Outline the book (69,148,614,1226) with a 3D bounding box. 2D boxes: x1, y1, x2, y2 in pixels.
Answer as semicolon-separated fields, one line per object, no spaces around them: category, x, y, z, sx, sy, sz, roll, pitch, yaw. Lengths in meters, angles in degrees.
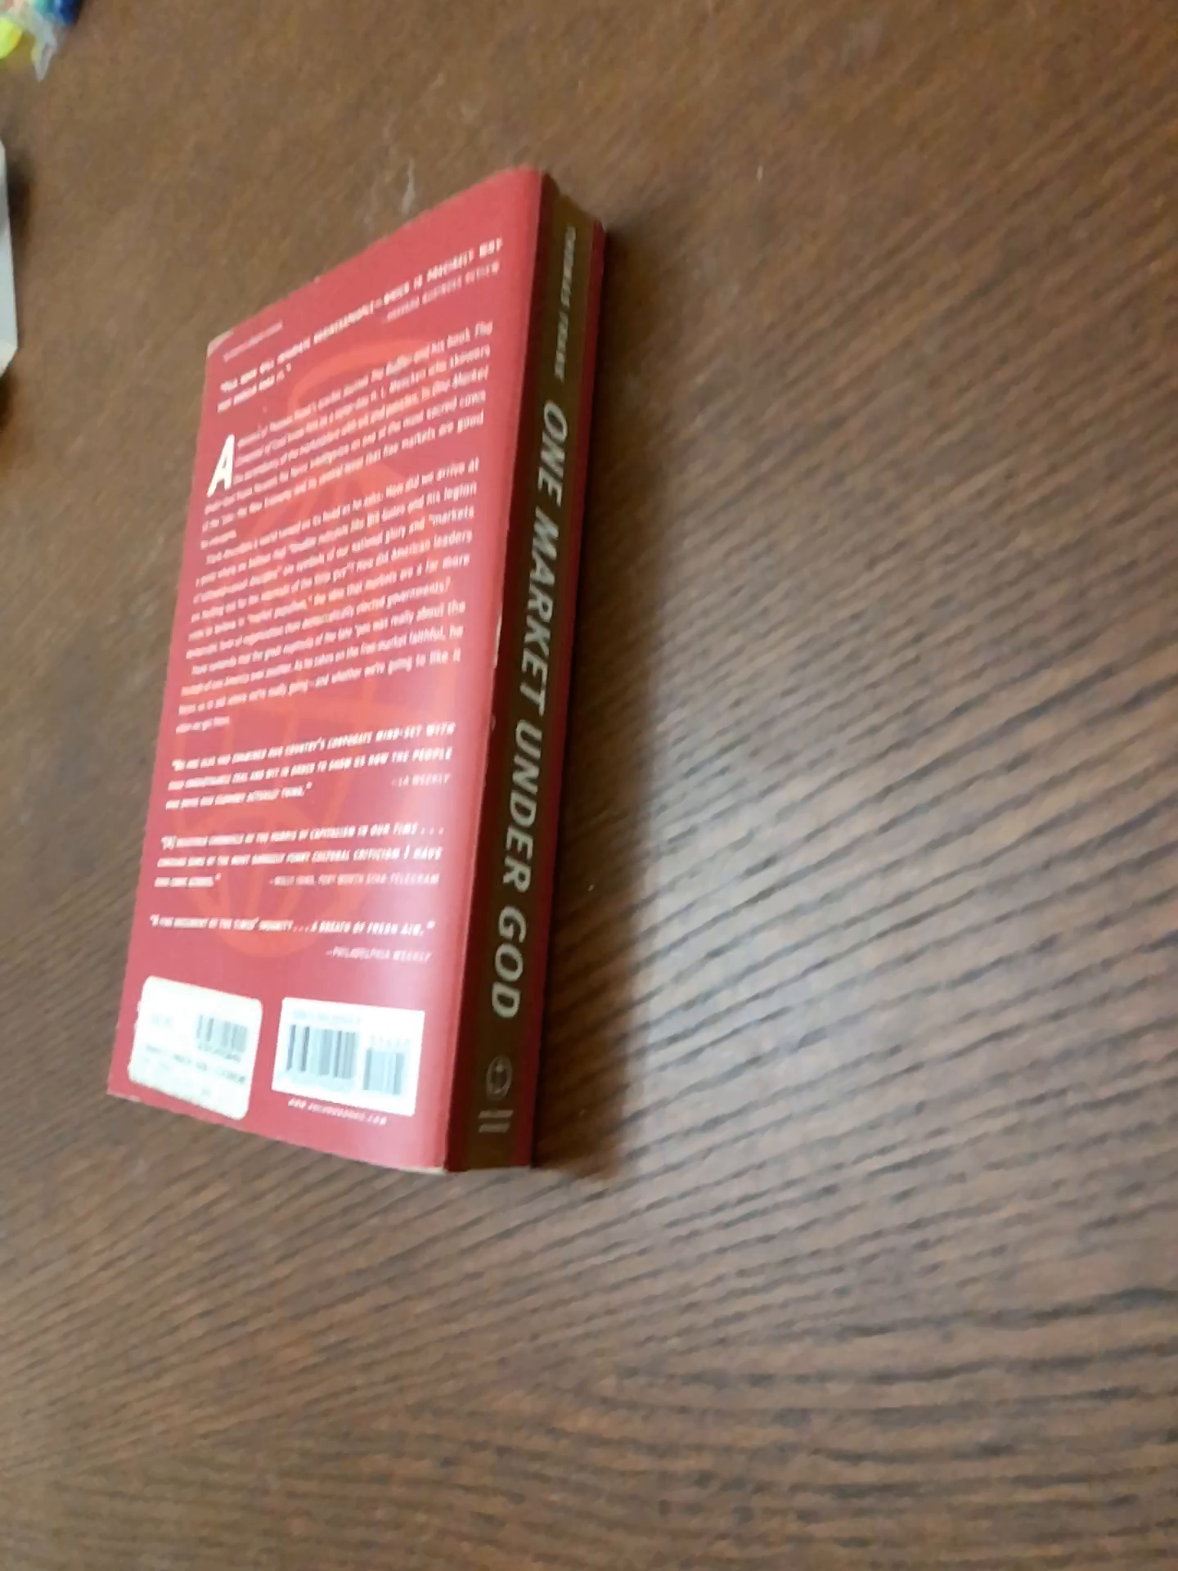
book;-0.063;-0.019;0.307;0.141;0.030;0.210;-5;76;46
